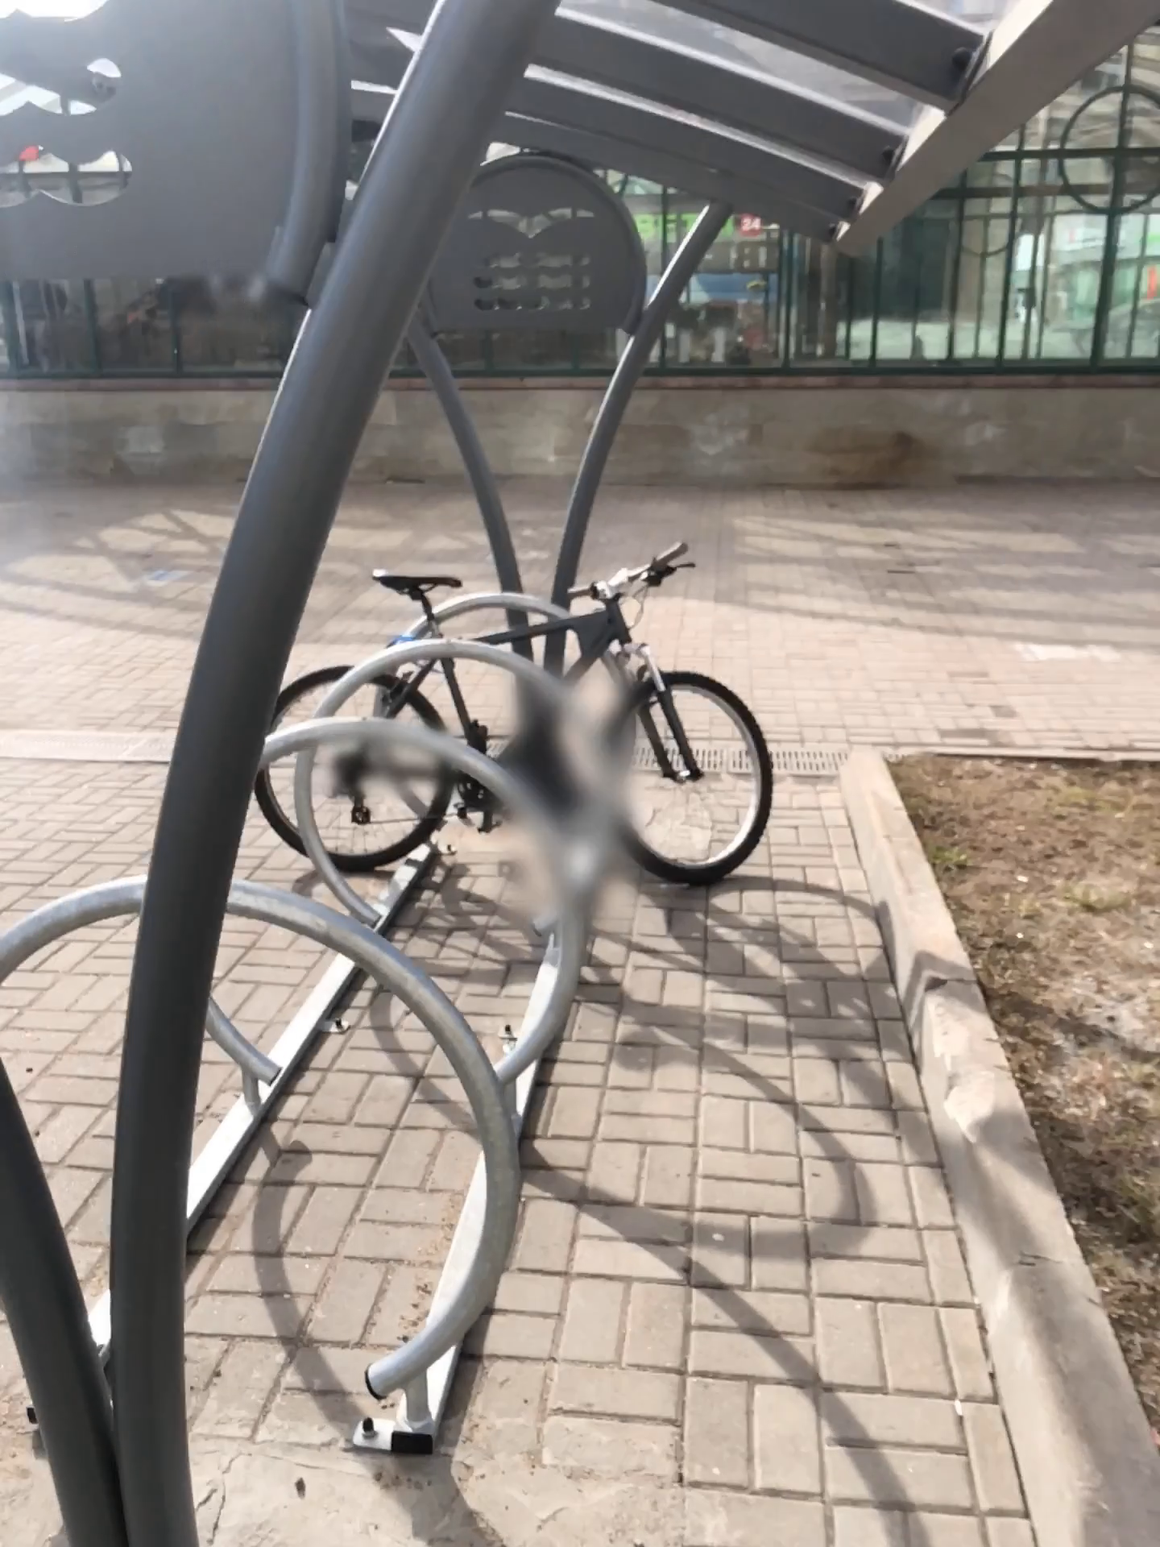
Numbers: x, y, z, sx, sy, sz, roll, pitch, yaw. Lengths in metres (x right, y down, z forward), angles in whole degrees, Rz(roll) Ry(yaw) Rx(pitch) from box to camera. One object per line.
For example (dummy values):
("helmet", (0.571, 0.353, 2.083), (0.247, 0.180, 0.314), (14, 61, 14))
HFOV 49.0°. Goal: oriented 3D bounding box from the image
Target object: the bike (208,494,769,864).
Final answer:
("bike", (-0.210, -0.329, 4.098), (1.610, 0.980, 0.563), (-3, 18, -2))
